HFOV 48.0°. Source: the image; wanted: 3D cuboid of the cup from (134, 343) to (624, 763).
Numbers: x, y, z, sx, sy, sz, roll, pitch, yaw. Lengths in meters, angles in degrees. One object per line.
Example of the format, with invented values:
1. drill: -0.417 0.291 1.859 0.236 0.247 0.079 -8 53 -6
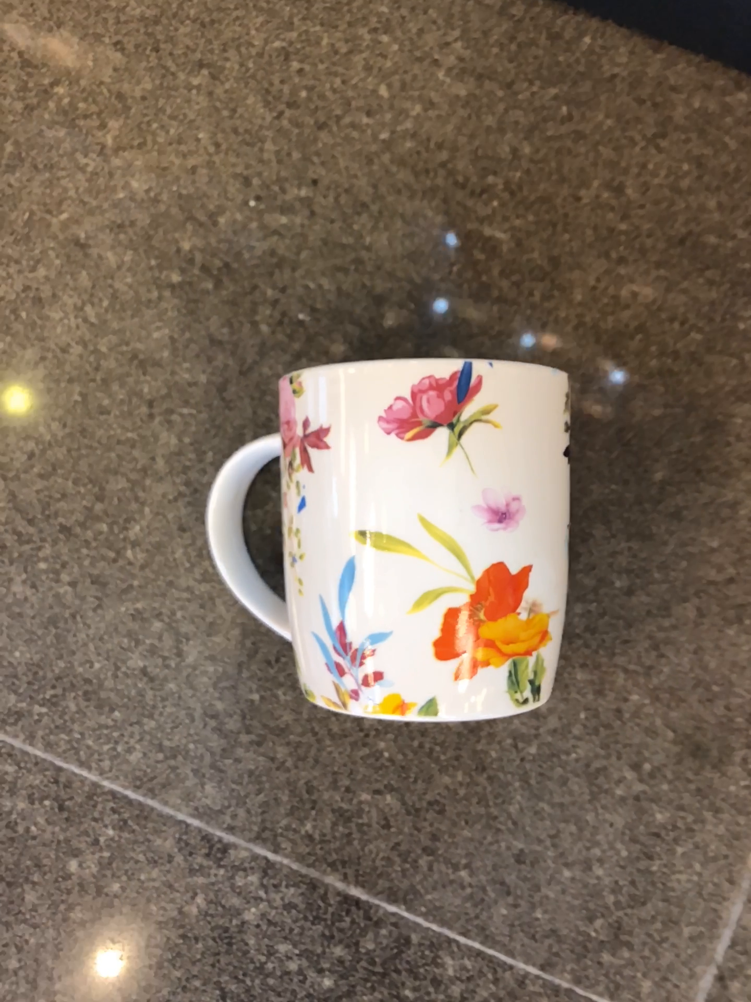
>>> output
1. cup: 0.000 0.013 0.249 0.120 0.080 0.090 -2 88 37
